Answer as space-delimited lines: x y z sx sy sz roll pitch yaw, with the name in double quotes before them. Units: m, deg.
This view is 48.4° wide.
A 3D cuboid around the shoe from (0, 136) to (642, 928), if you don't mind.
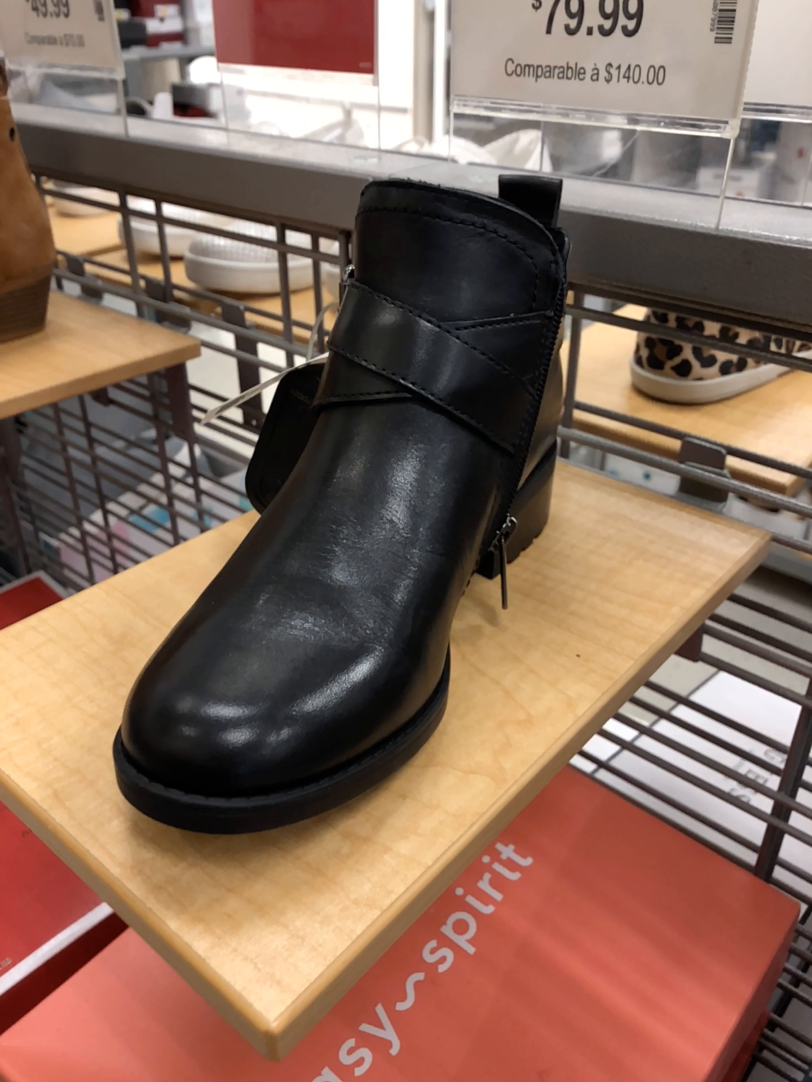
"shoe" -0.009 -0.032 0.271 0.090 0.133 0.221 14 34 22
